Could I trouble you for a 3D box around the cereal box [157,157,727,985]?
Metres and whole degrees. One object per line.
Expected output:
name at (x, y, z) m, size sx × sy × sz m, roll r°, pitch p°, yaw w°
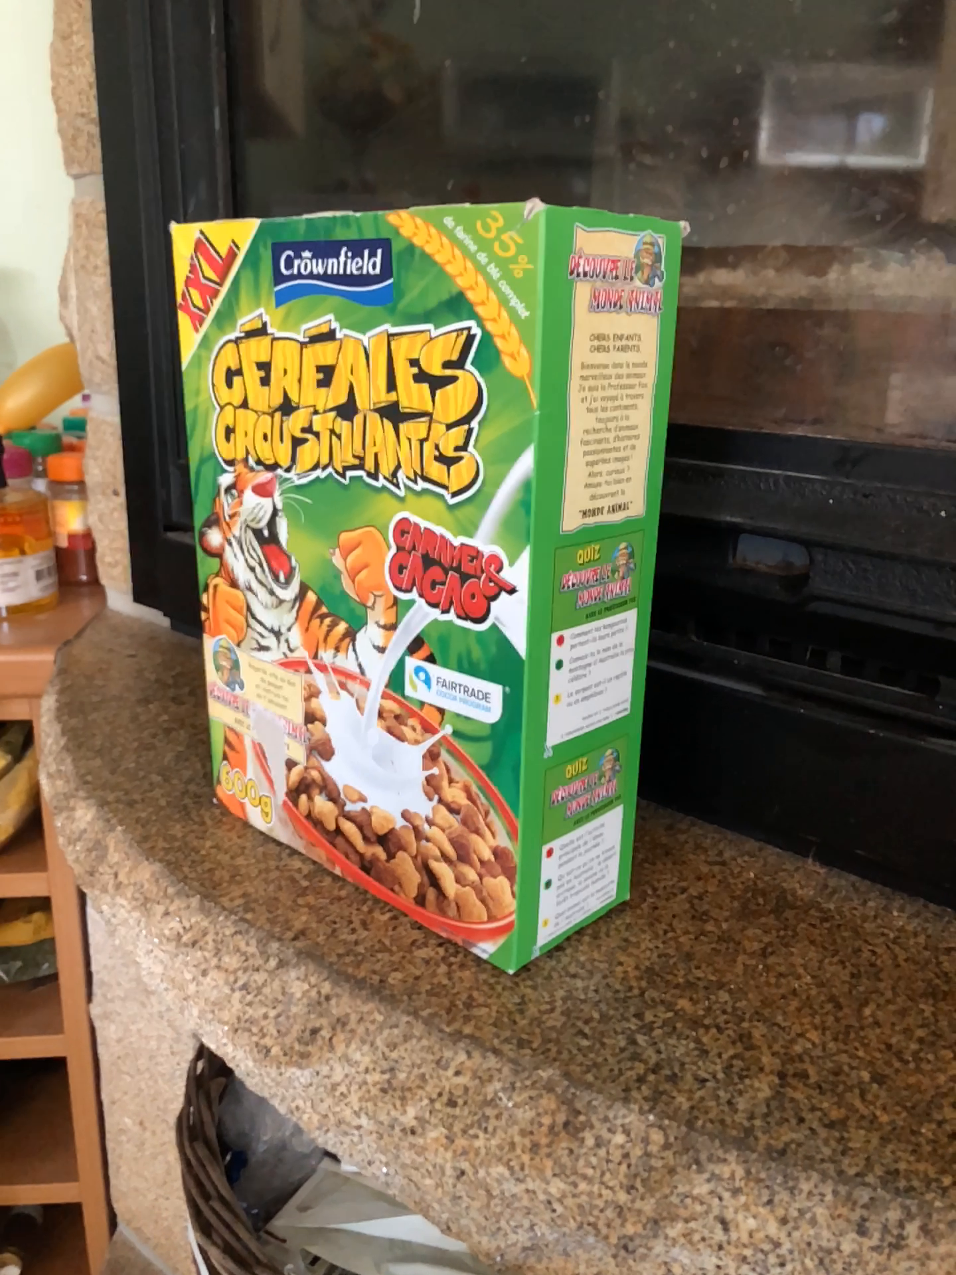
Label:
cereal box at (-0.025, -0.037, 0.418) m, size 0.200 × 0.259 × 0.090 m, roll 16°, pitch 22°, yaw 40°
